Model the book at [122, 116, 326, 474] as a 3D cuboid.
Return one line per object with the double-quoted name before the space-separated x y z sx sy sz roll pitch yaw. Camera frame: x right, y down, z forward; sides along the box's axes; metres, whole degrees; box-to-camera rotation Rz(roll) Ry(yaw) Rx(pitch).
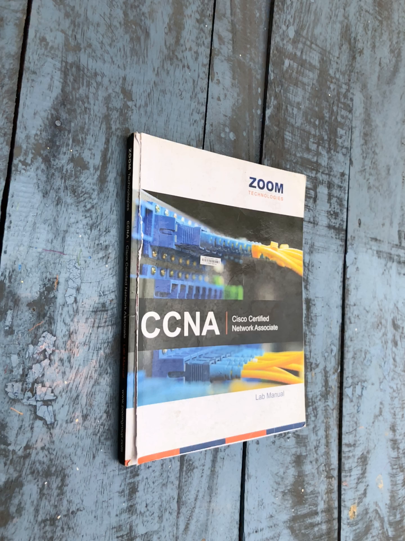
"book" 0.027 0.019 0.398 0.201 0.030 0.260 3 83 -36
